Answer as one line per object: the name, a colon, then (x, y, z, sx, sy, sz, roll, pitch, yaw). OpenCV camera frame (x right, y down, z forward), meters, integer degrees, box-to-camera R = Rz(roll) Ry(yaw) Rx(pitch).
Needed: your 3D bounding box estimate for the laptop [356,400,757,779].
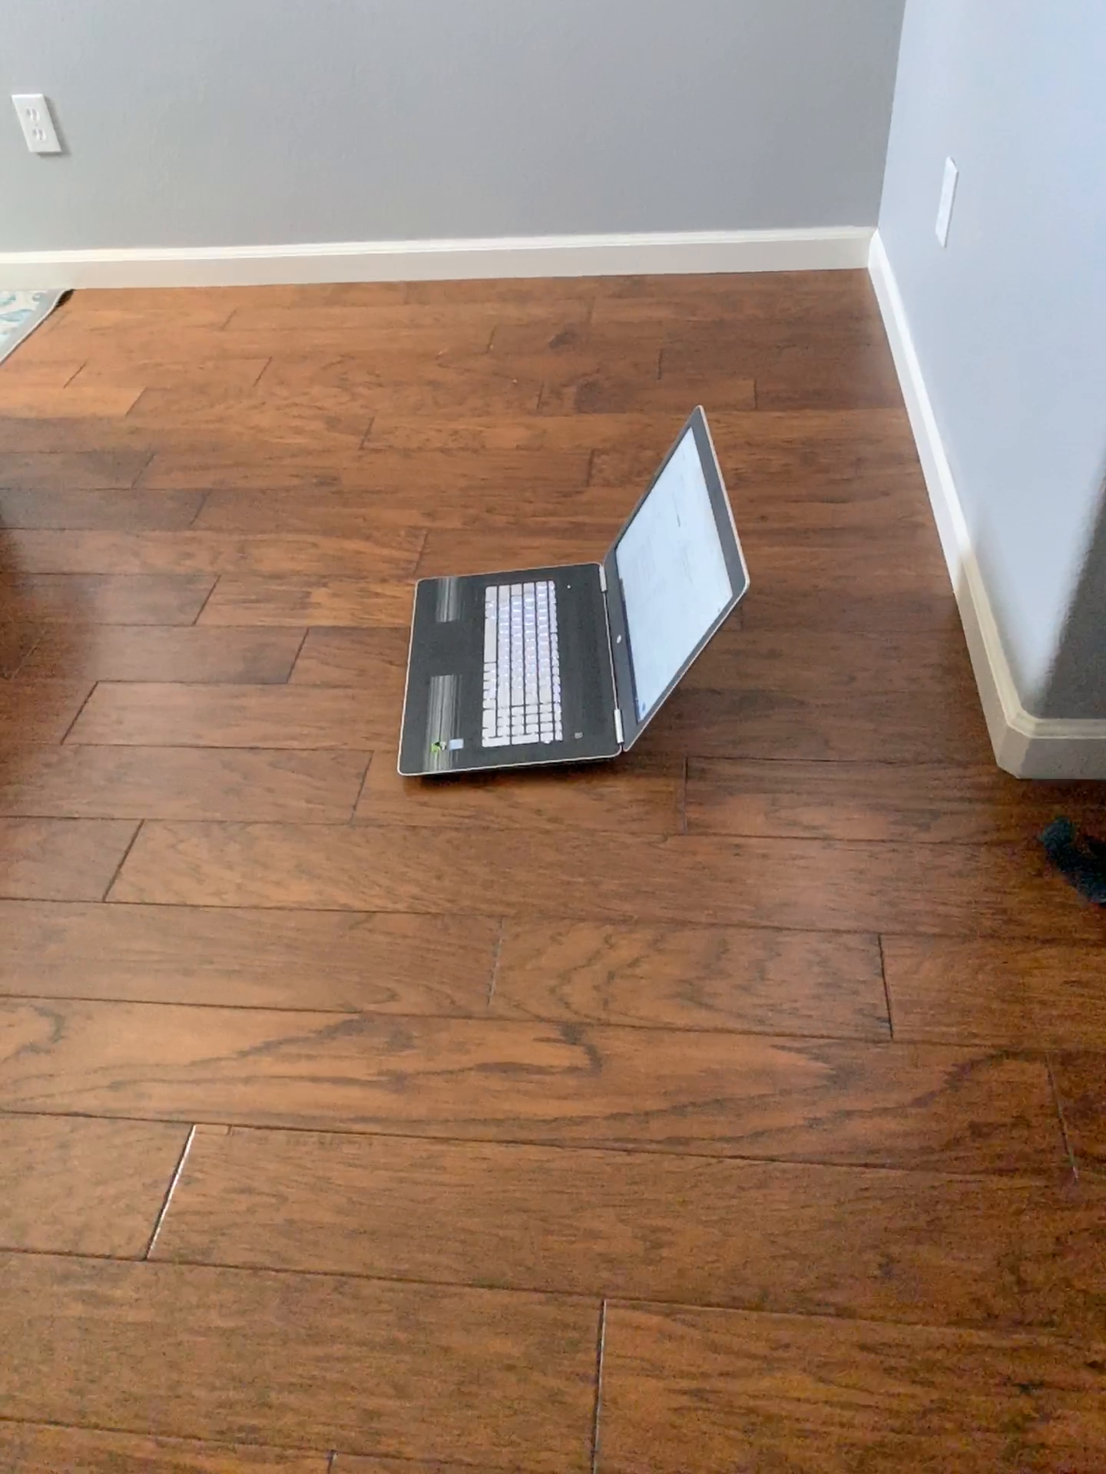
laptop: (0.003, -0.195, 1.410, 0.421, 0.233, 0.413, -5, 43, 2)
